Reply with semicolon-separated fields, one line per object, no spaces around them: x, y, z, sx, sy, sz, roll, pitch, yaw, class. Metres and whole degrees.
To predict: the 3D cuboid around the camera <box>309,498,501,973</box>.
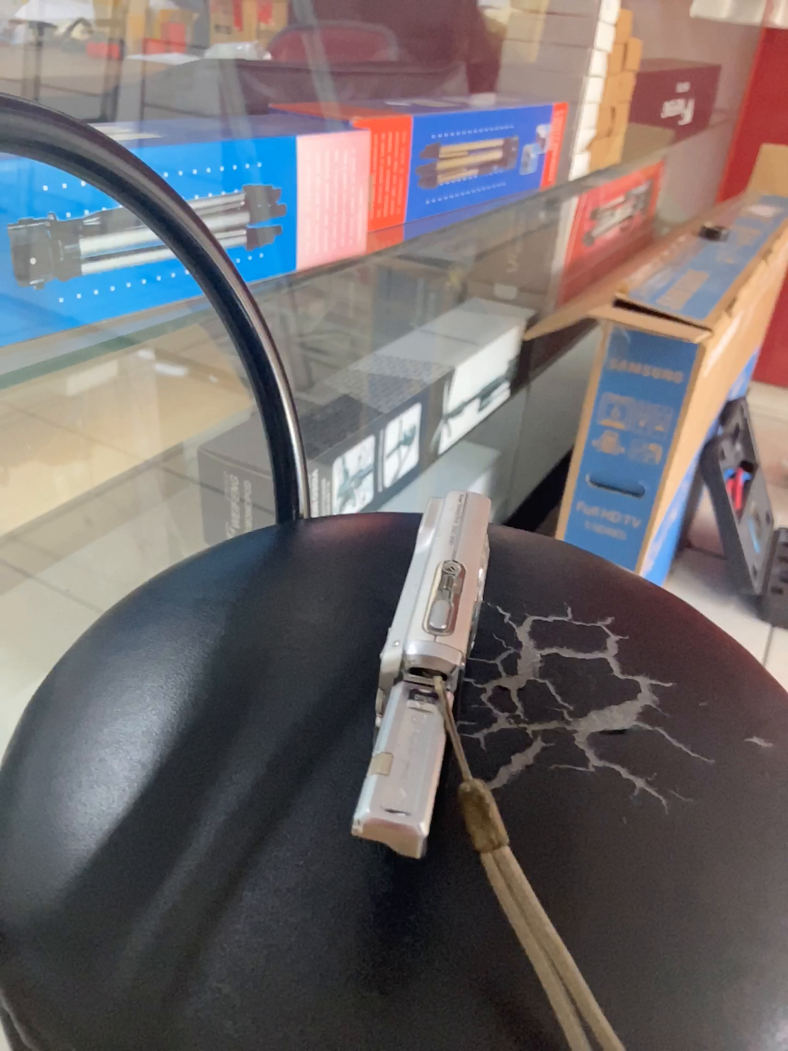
0.008;0.050;0.244;0.030;0.053;0.137;9;32;7;camera
